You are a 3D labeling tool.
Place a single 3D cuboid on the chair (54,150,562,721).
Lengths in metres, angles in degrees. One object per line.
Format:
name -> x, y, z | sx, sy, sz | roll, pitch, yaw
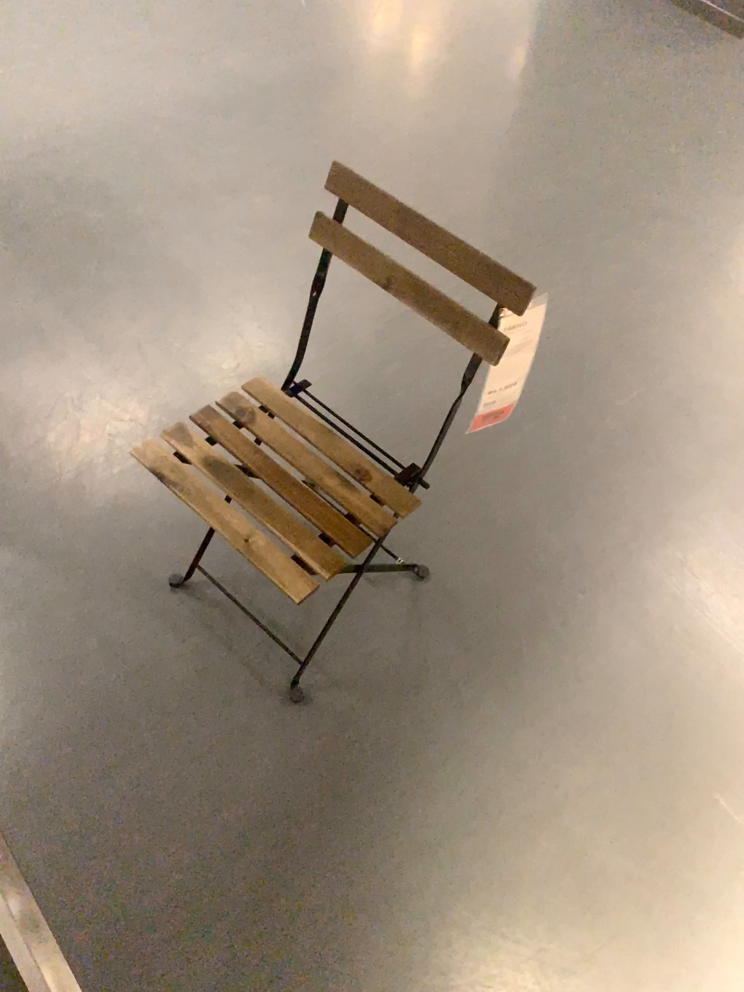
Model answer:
chair -> -0.098, -0.066, 1.256 | 0.420, 0.698, 0.501 | 40, 60, 21
